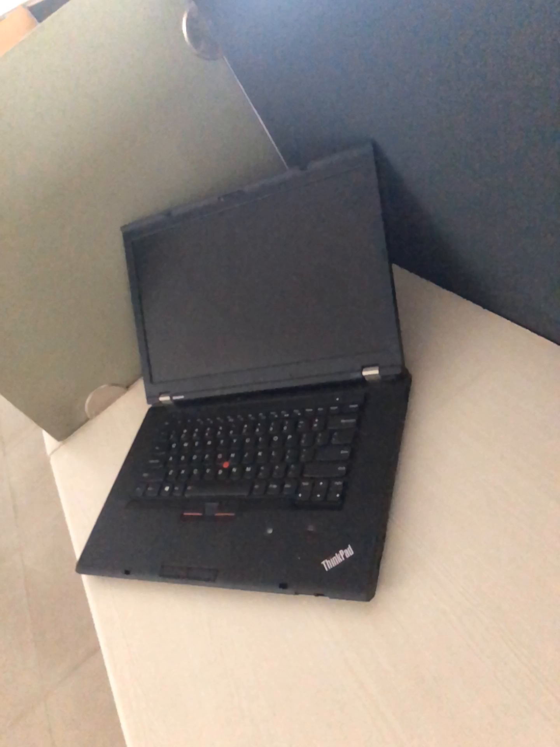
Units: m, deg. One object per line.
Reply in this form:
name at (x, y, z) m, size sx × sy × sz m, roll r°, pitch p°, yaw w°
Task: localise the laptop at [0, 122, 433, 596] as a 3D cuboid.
laptop at (-0.064, -0.015, 0.650) m, size 0.356 × 0.167 × 0.406 m, roll -8°, pitch 47°, yaw 33°
